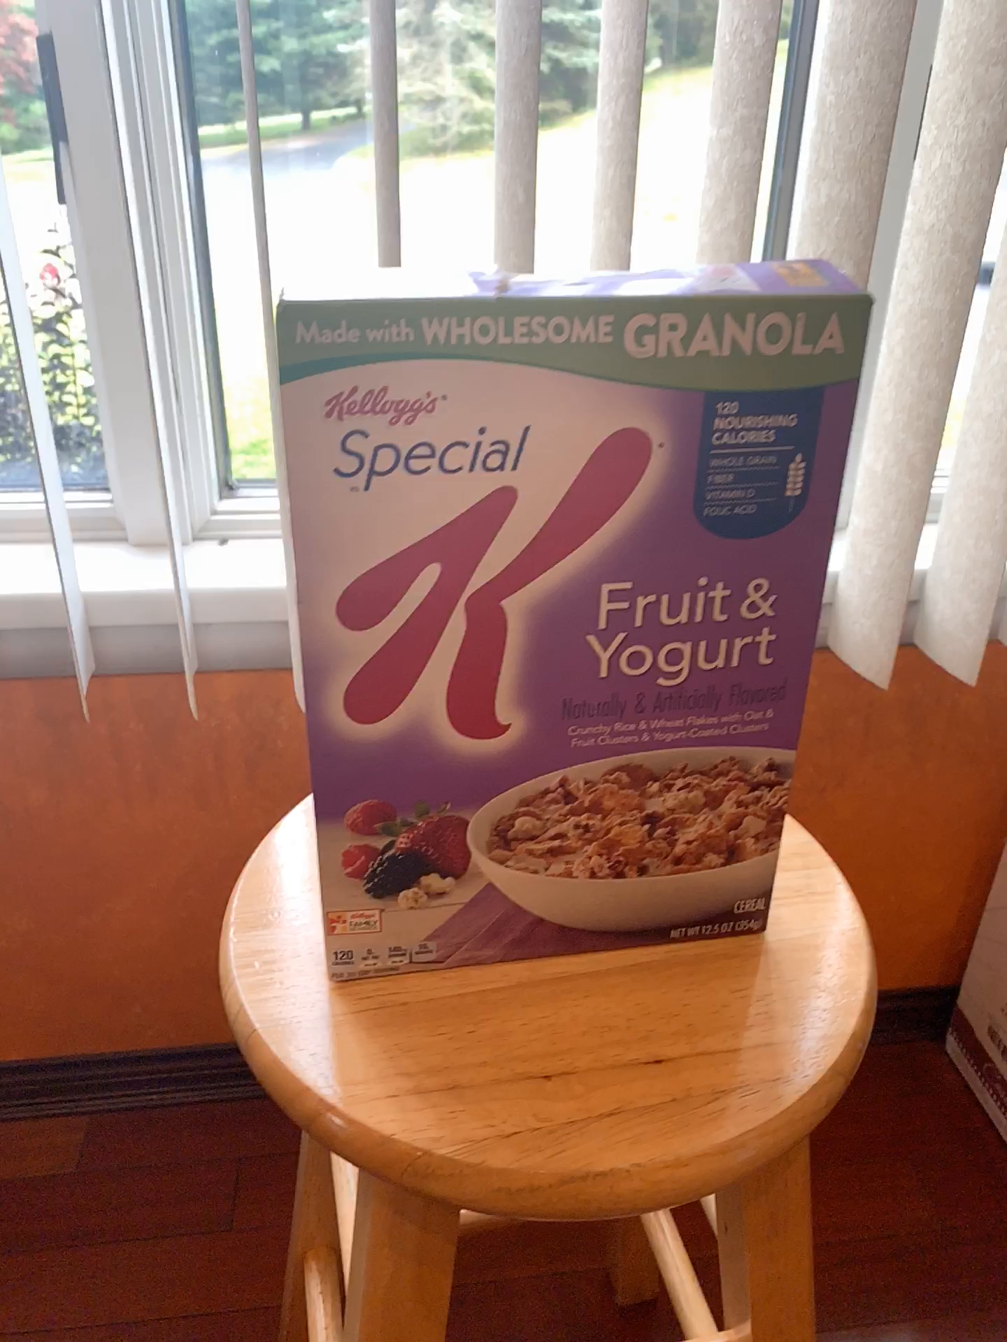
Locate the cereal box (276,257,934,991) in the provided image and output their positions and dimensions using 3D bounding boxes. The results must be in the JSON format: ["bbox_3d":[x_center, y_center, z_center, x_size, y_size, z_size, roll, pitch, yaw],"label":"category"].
[{"bbox_3d":[0.028,-0.013,0.415,0.210,0.278,0.070,-3,28,-9],"label":"cereal box"}]
